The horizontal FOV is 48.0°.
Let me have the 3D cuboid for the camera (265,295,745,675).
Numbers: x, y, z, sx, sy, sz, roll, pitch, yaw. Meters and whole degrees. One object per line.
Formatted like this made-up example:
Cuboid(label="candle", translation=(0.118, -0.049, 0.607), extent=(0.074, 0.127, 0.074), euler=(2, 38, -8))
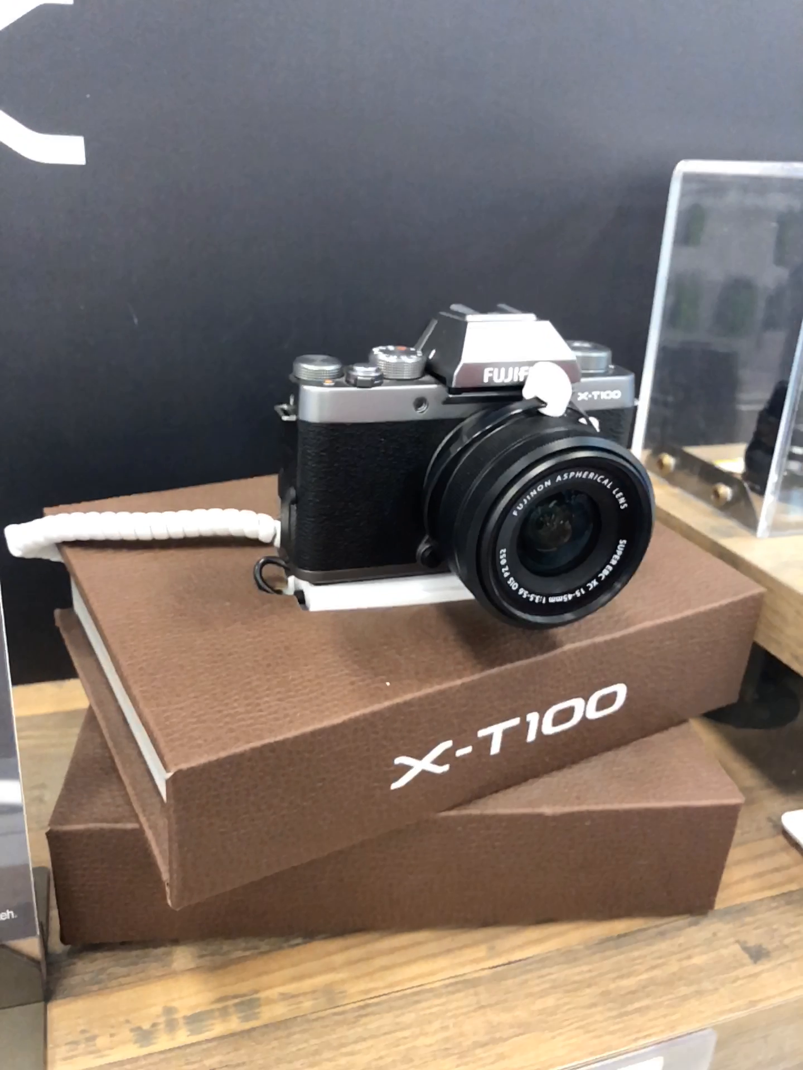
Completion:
Cuboid(label="camera", translation=(0.024, -0.025, 0.294), extent=(0.120, 0.090, 0.090), euler=(-5, 25, -19))
